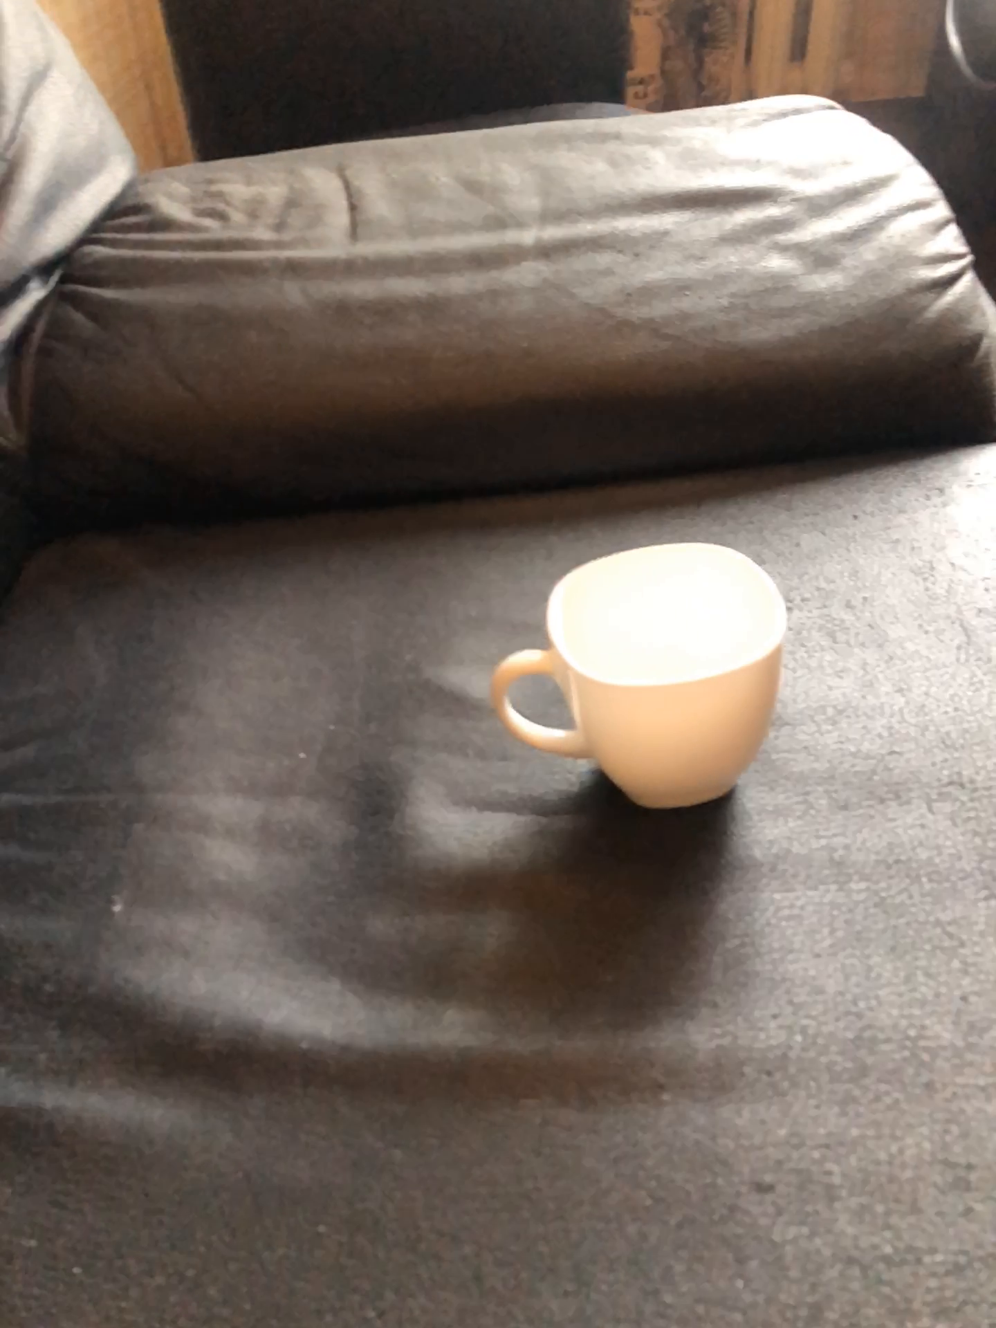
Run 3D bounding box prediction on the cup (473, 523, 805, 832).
[{"bbox_3d":[0.045,0.003,0.382,0.101,0.063,0.081,-6,38,3],"label":"cup"}]
